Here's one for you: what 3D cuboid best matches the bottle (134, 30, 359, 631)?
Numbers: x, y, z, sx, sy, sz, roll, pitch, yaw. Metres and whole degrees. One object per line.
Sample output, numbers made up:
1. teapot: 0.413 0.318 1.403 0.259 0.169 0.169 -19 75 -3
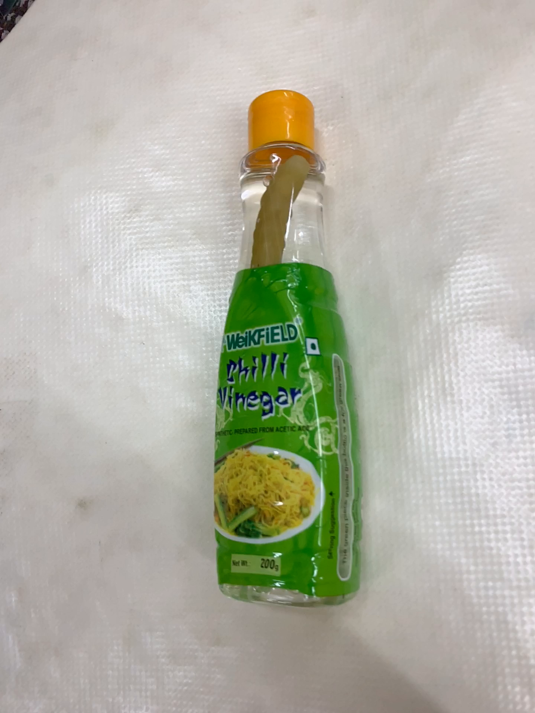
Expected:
1. bottle: -0.010 -0.009 0.195 0.060 0.040 0.180 -7 81 32
